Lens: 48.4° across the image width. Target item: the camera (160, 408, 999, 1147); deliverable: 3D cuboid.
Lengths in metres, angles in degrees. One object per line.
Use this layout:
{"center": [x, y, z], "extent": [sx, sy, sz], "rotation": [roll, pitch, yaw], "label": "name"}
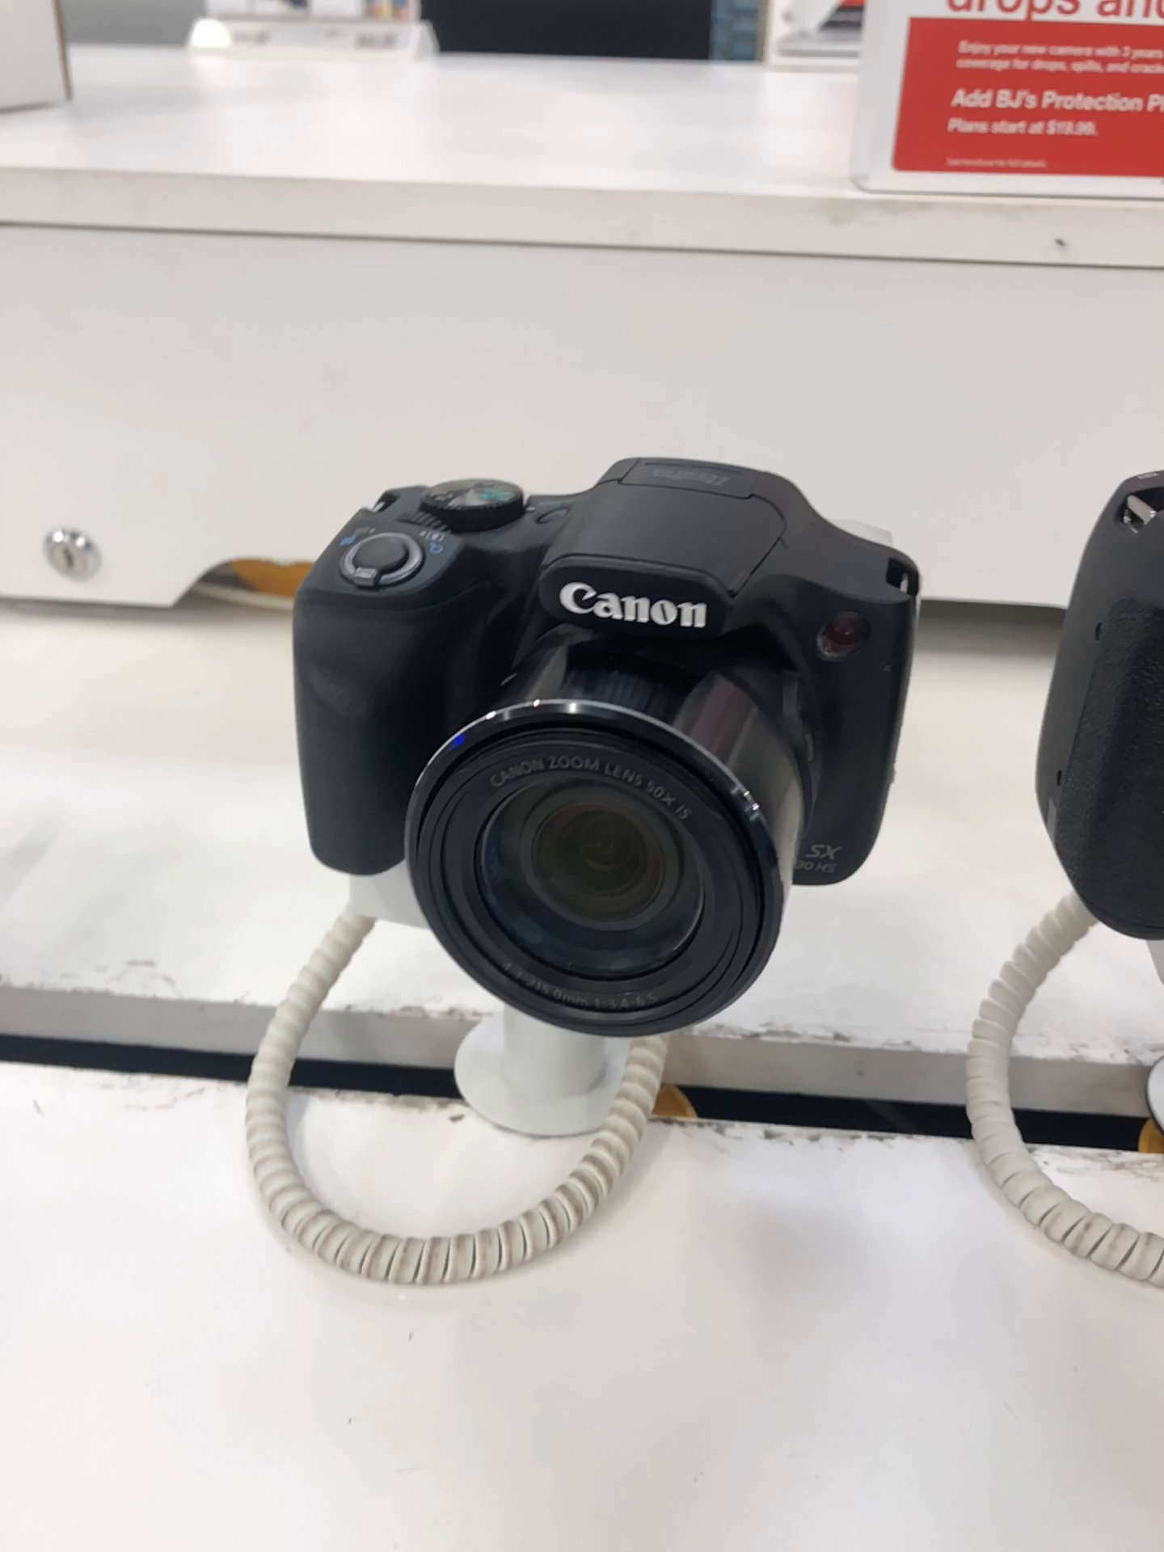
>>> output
{"center": [0.004, -0.006, 0.236], "extent": [0.120, 0.089, 0.081], "rotation": [9, 31, 11], "label": "camera"}
